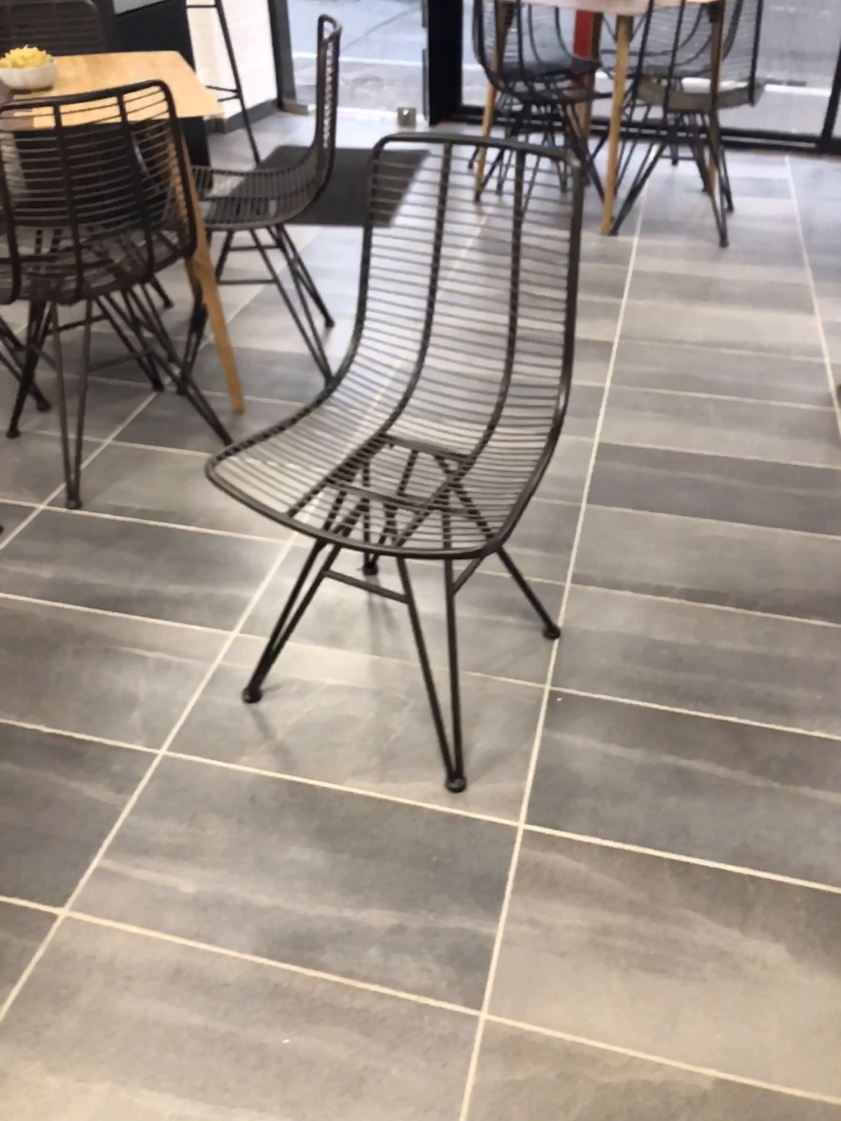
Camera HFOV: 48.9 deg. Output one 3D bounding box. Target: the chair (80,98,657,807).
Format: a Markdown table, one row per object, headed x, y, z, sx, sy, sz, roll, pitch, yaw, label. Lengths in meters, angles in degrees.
| x | y | z | sx | sy | sz | roll | pitch | yaw | label |
| --- | --- | --- | --- | --- | --- | --- | --- | --- | --- |
| -0.031 | -0.173 | 1.358 | 0.500 | 0.785 | 0.523 | 18 | 42 | 23 | chair |
